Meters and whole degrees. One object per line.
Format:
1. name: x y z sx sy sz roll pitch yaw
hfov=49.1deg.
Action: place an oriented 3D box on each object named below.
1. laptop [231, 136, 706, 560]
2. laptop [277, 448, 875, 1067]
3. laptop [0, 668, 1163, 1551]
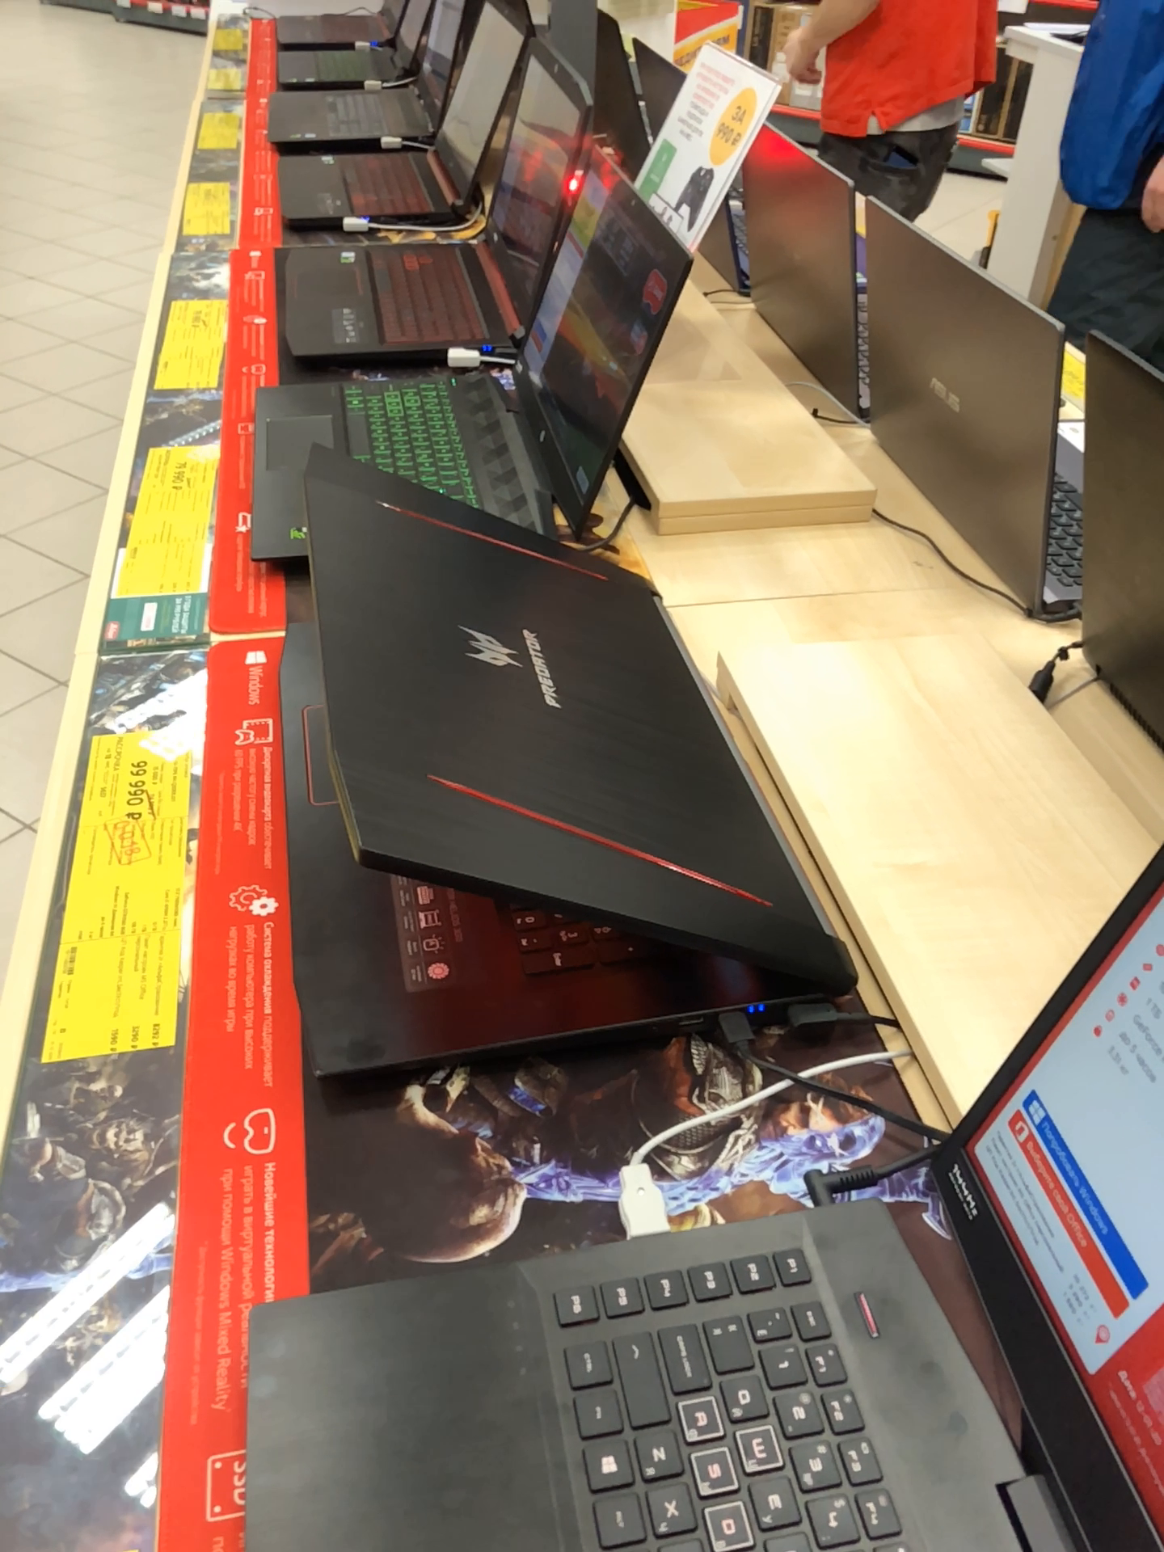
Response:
1. laptop: -0.120 -0.390 1.120 0.342 0.230 0.352 -5 39 -9
2. laptop: -0.039 -0.048 0.762 0.261 0.124 0.421 -6 37 -10
3. laptop: 0.083 0.207 0.308 0.355 0.251 0.379 -7 37 -8
